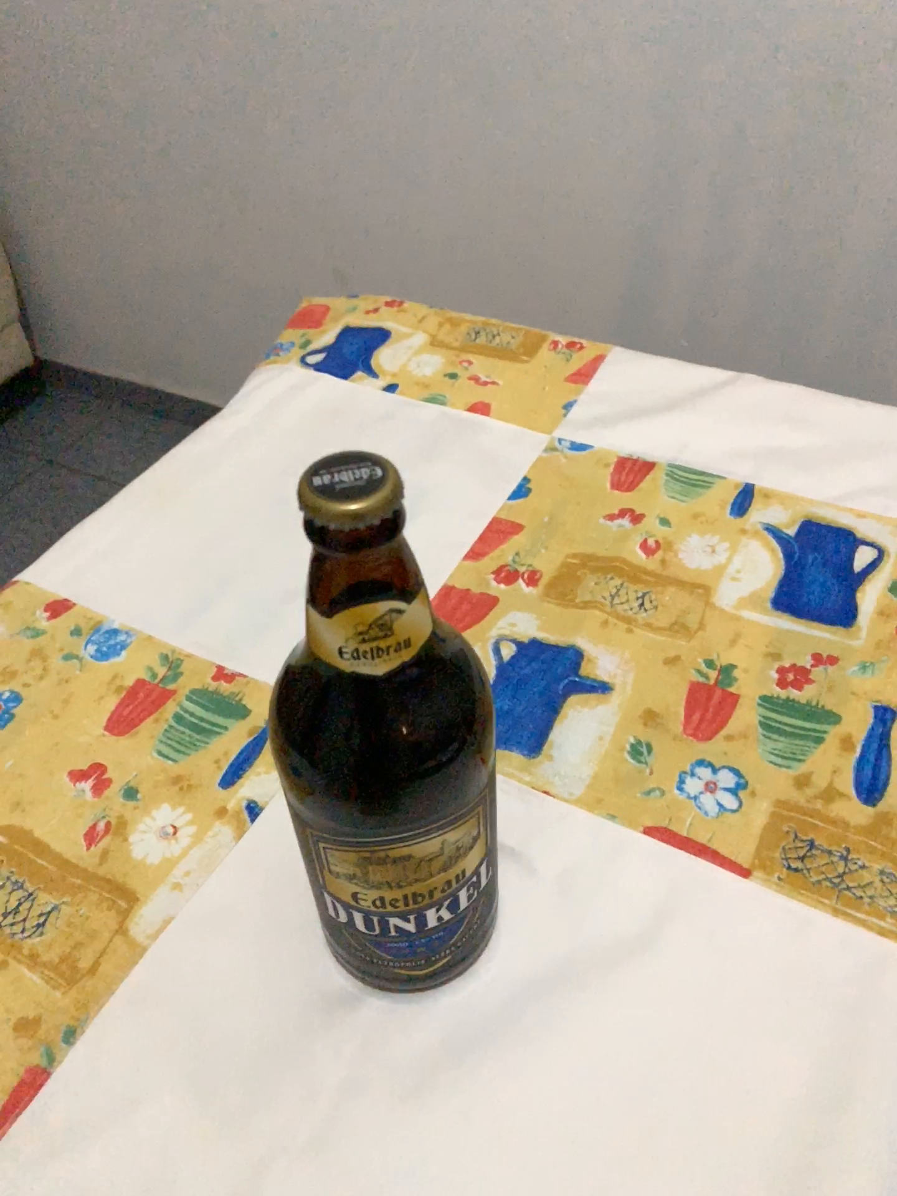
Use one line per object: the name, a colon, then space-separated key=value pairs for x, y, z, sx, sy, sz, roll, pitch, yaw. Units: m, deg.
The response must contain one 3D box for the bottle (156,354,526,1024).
bottle: x=-0.026 y=0.045 z=0.302 sx=0.080 sy=0.219 sz=0.080 roll=-2 pitch=43 yaw=2
